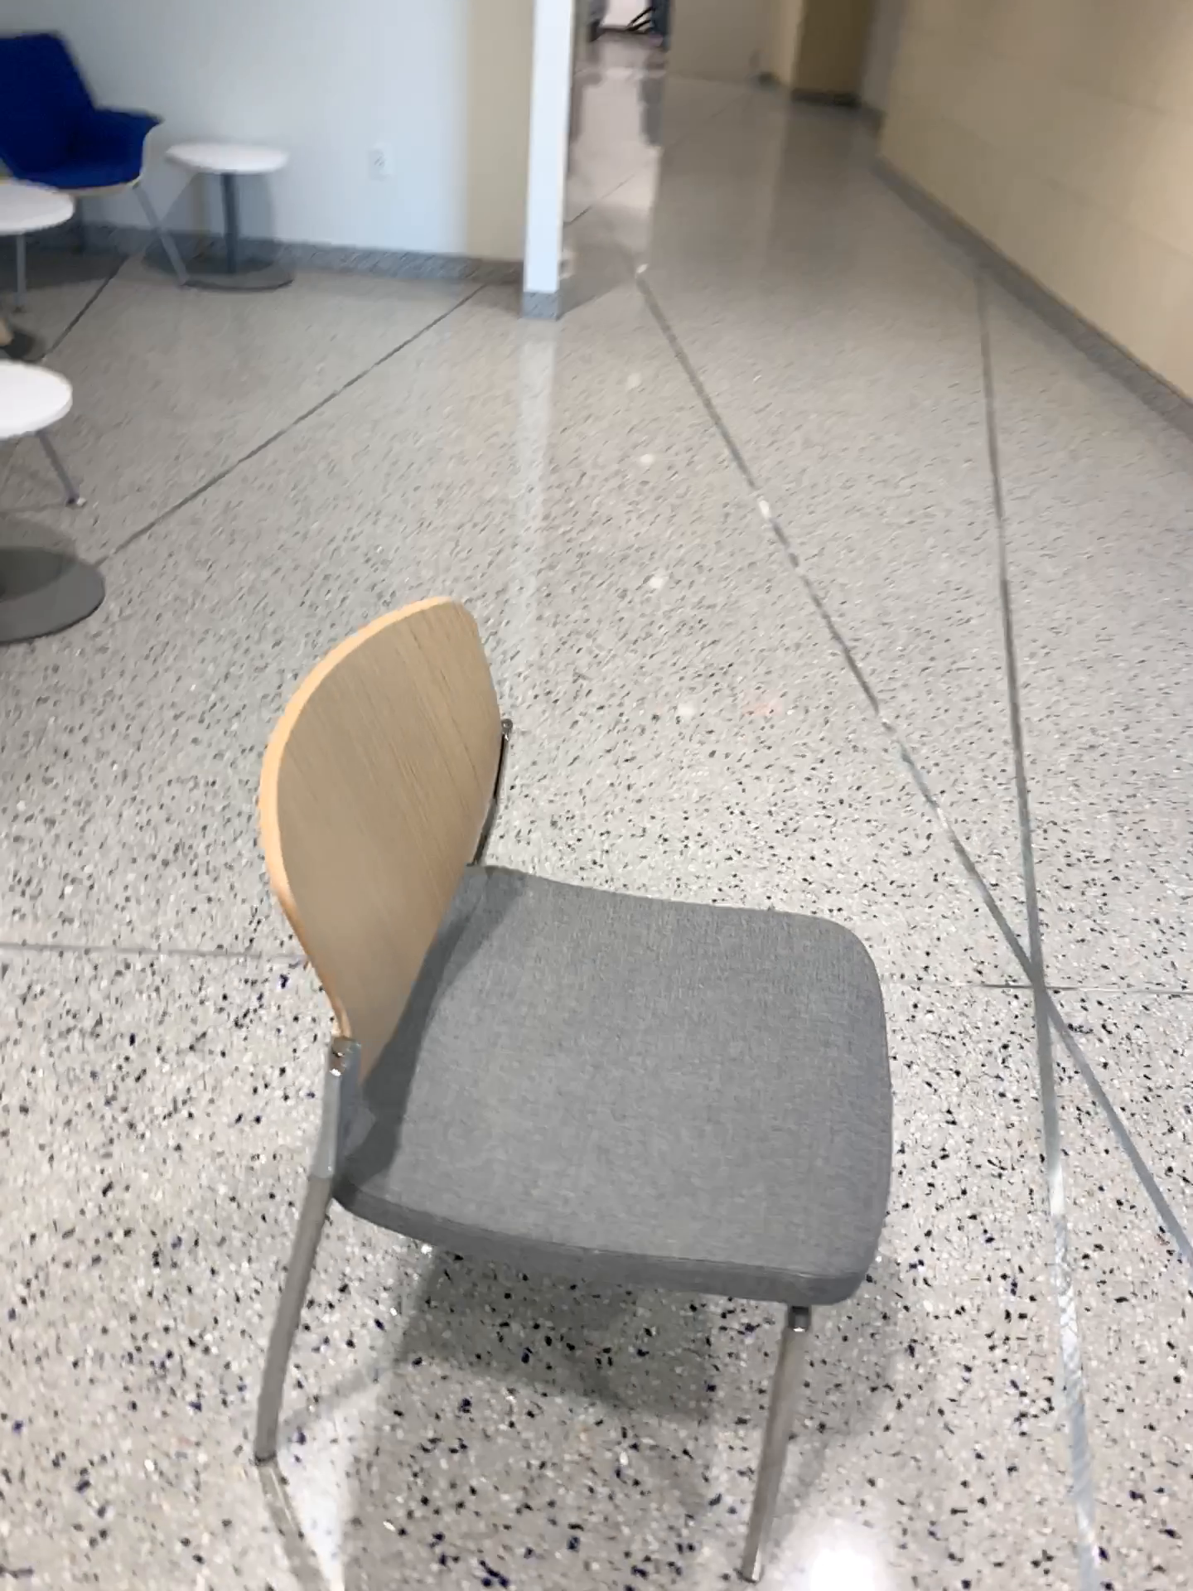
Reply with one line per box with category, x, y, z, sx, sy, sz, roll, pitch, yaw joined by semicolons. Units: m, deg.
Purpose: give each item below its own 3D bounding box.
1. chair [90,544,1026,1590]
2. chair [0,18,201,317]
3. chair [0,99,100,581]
chair;-0.016;0.265;1.190;0.591;0.768;0.542;10;36;6
chair;-2.007;-2.244;4.308;0.814;0.768;0.751;28;41;28
chair;-1.697;-1.064;2.729;0.764;0.758;0.771;-22;44;-33
